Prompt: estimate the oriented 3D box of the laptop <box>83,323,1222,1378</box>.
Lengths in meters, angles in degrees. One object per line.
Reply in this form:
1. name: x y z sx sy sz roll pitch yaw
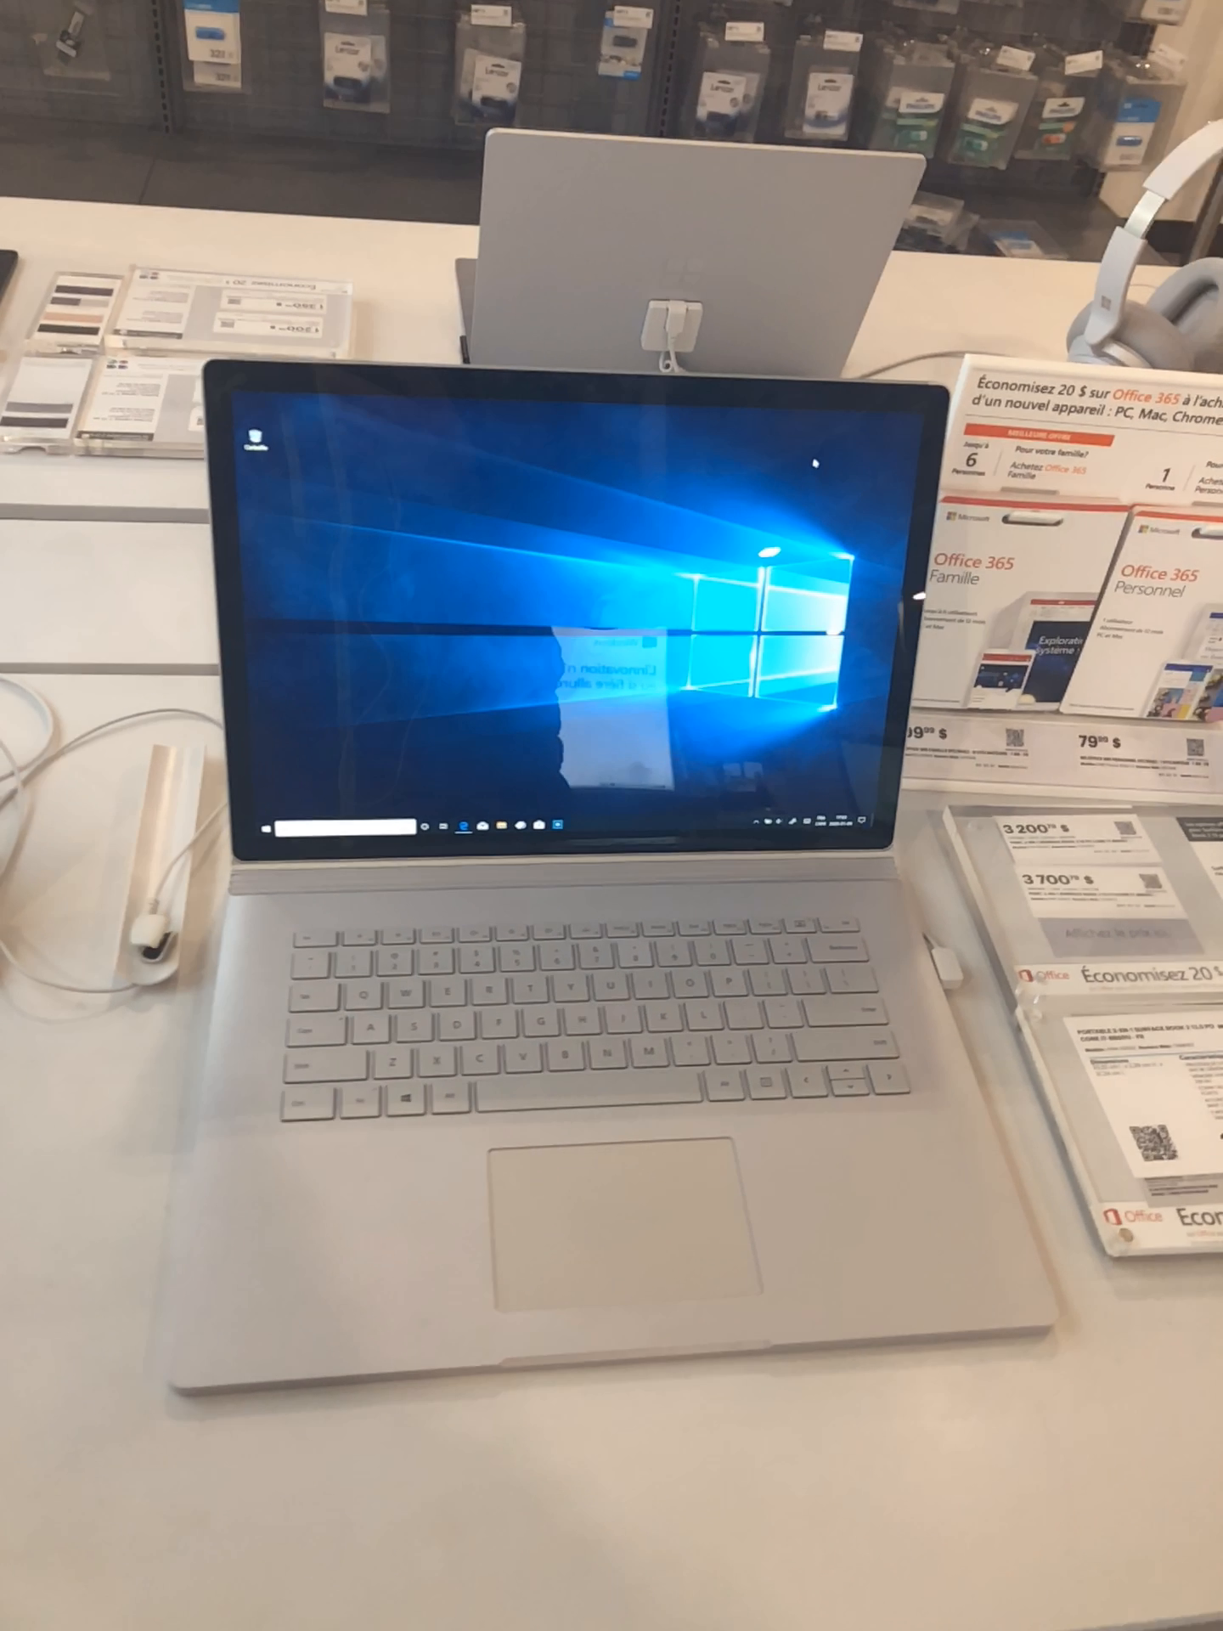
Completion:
1. laptop: -0.002 -0.006 0.563 0.338 0.207 0.366 0 46 -9
